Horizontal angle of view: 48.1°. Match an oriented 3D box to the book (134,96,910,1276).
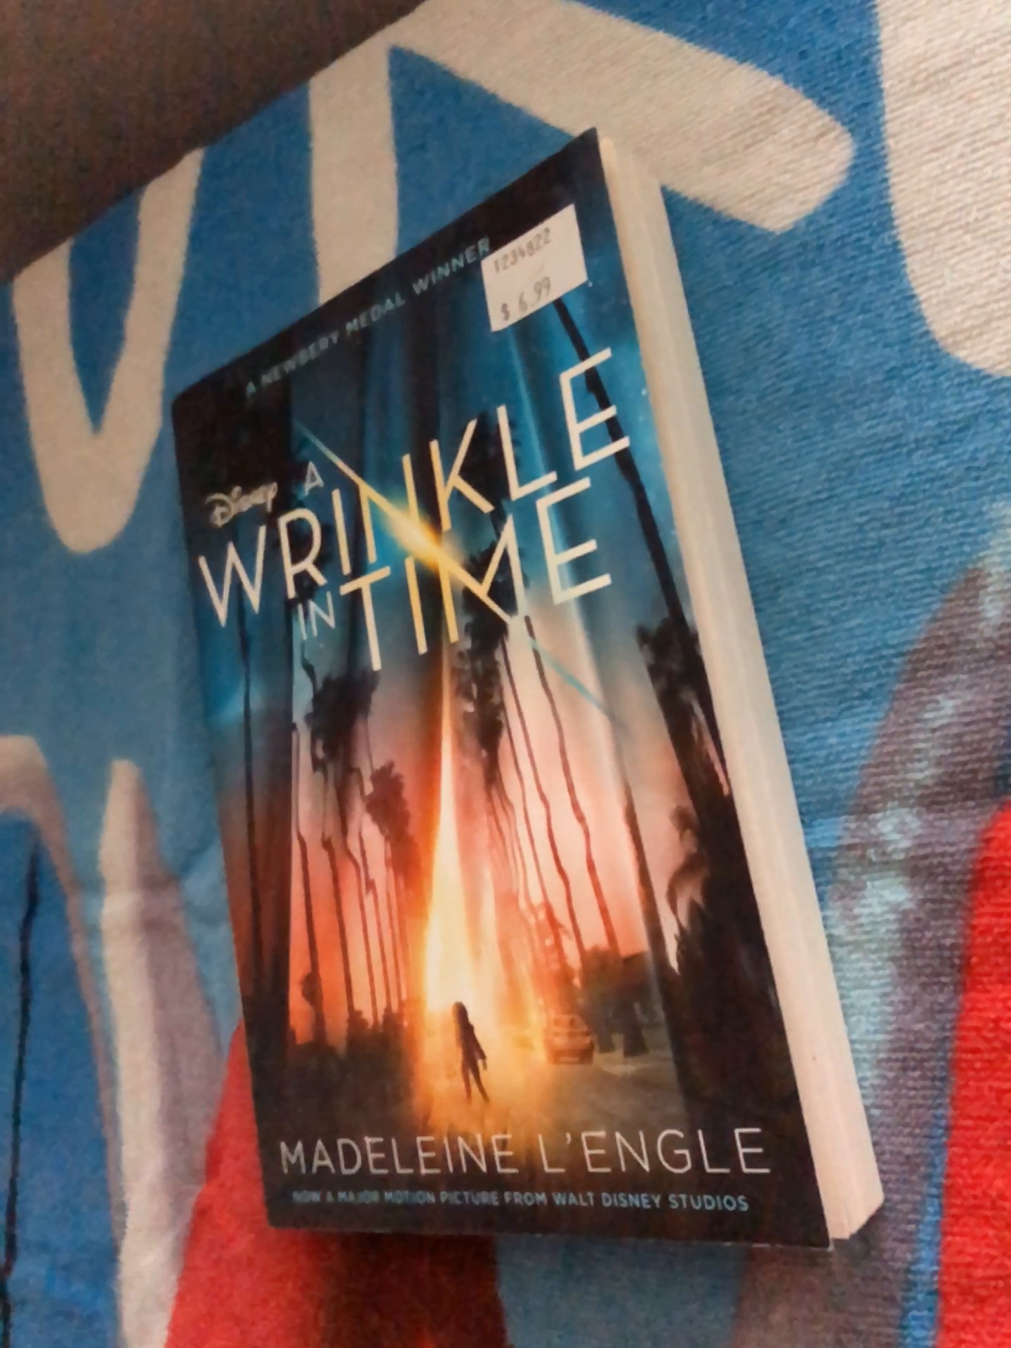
[{"bbox_3d":[-0.012,0.010,0.235,0.138,0.031,0.195,-17,78,36],"label":"book"}]
